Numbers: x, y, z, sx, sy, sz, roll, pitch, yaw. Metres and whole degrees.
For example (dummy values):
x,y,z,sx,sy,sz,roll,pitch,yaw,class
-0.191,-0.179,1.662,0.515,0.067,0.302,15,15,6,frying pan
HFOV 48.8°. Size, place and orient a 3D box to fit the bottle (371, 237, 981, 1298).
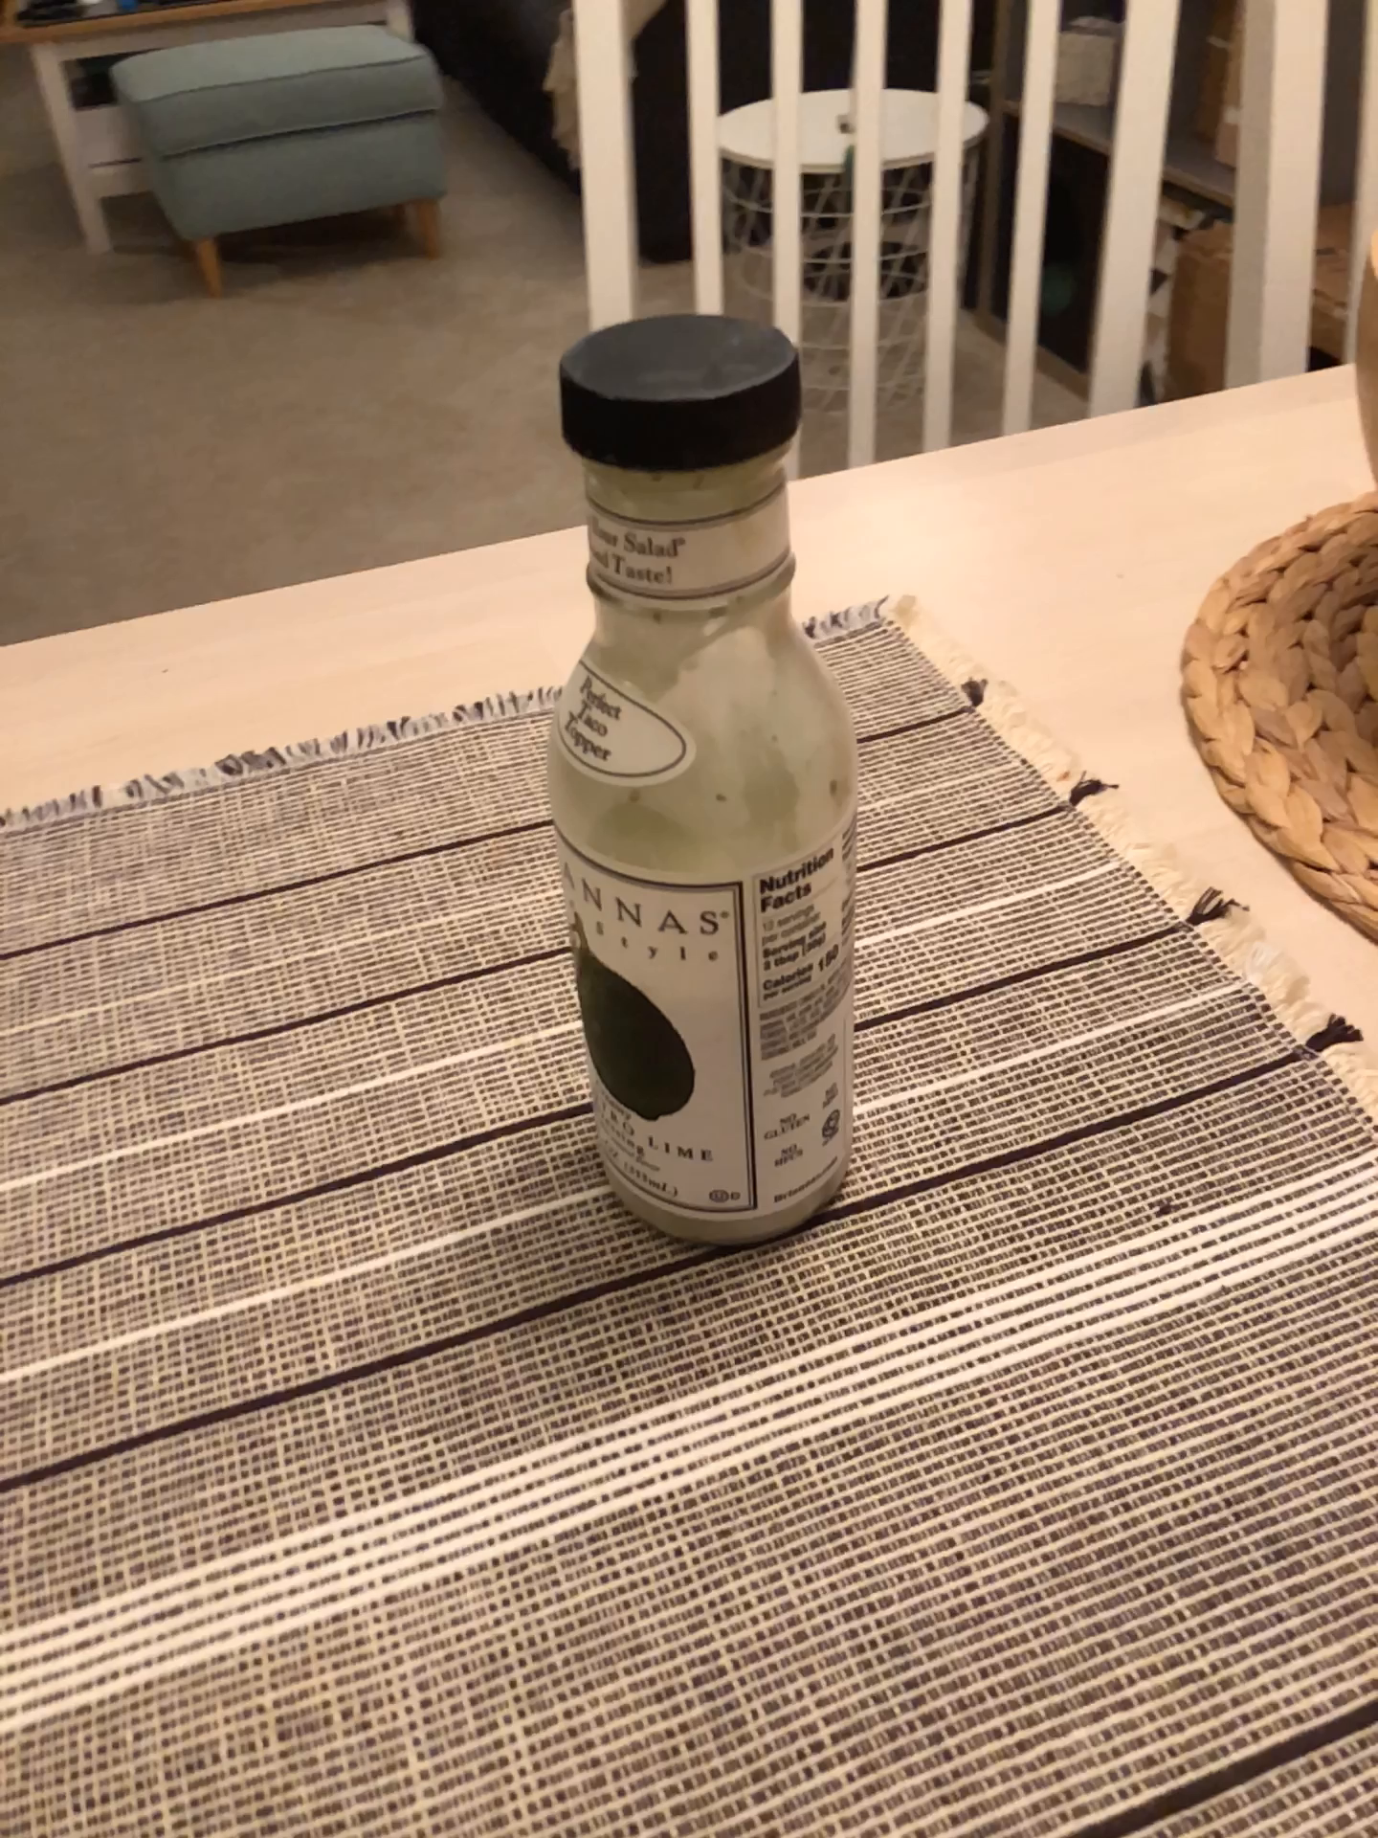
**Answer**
x,y,z,sx,sy,sz,roll,pitch,yaw,class
0.000,-0.023,0.304,0.070,0.186,0.075,-2,40,2,bottle
